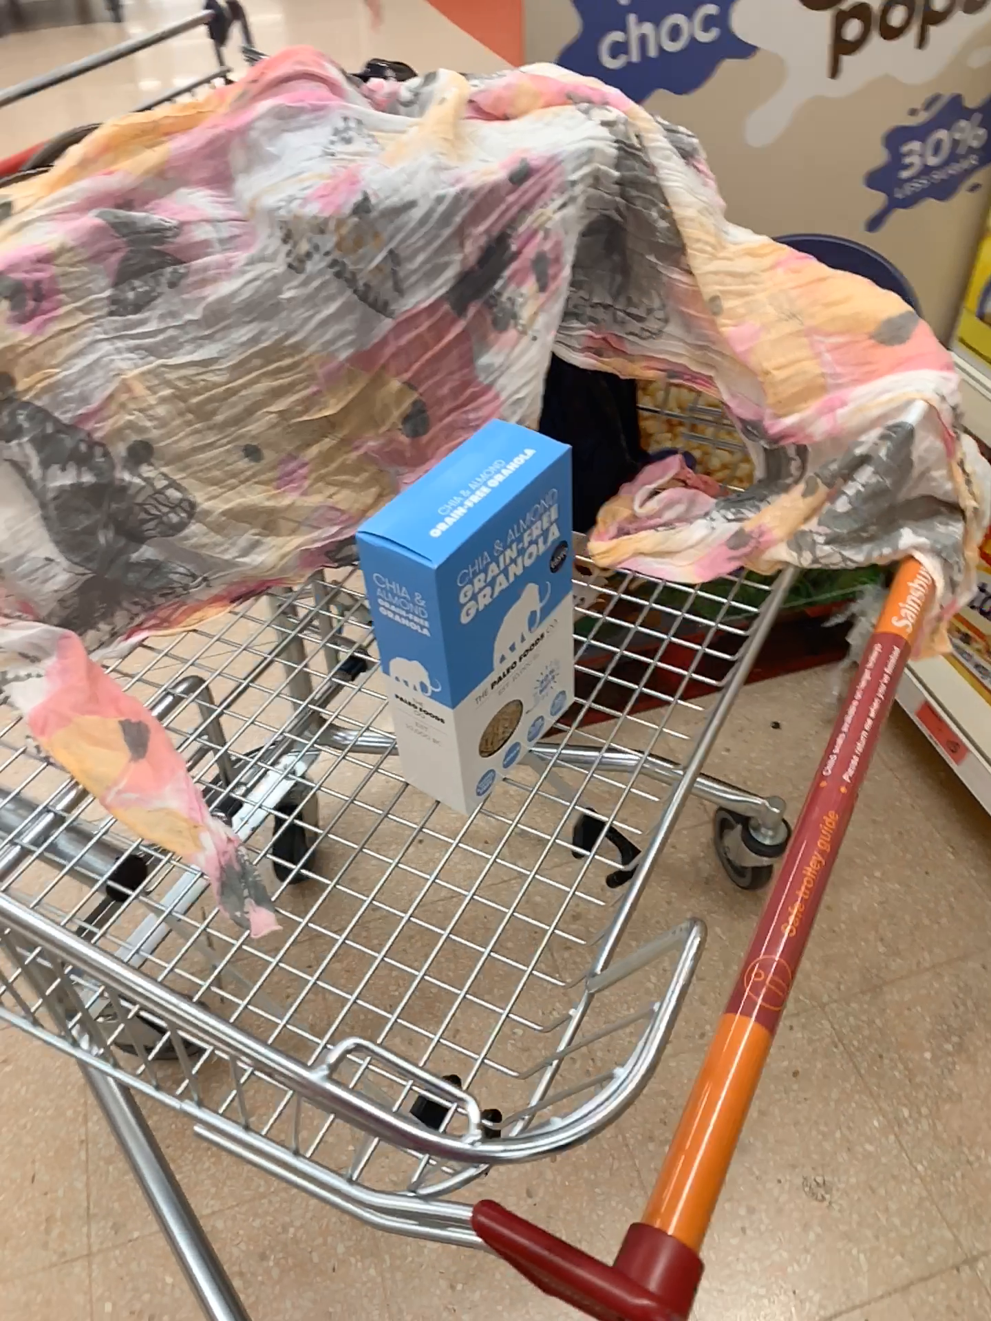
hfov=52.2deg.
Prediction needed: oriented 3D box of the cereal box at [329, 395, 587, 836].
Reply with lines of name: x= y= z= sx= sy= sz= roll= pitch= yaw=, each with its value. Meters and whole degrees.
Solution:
cereal box: x=-0.011 y=-0.022 z=0.588 sx=0.060 sy=0.208 sz=0.141 roll=24 pitch=50 yaw=26
